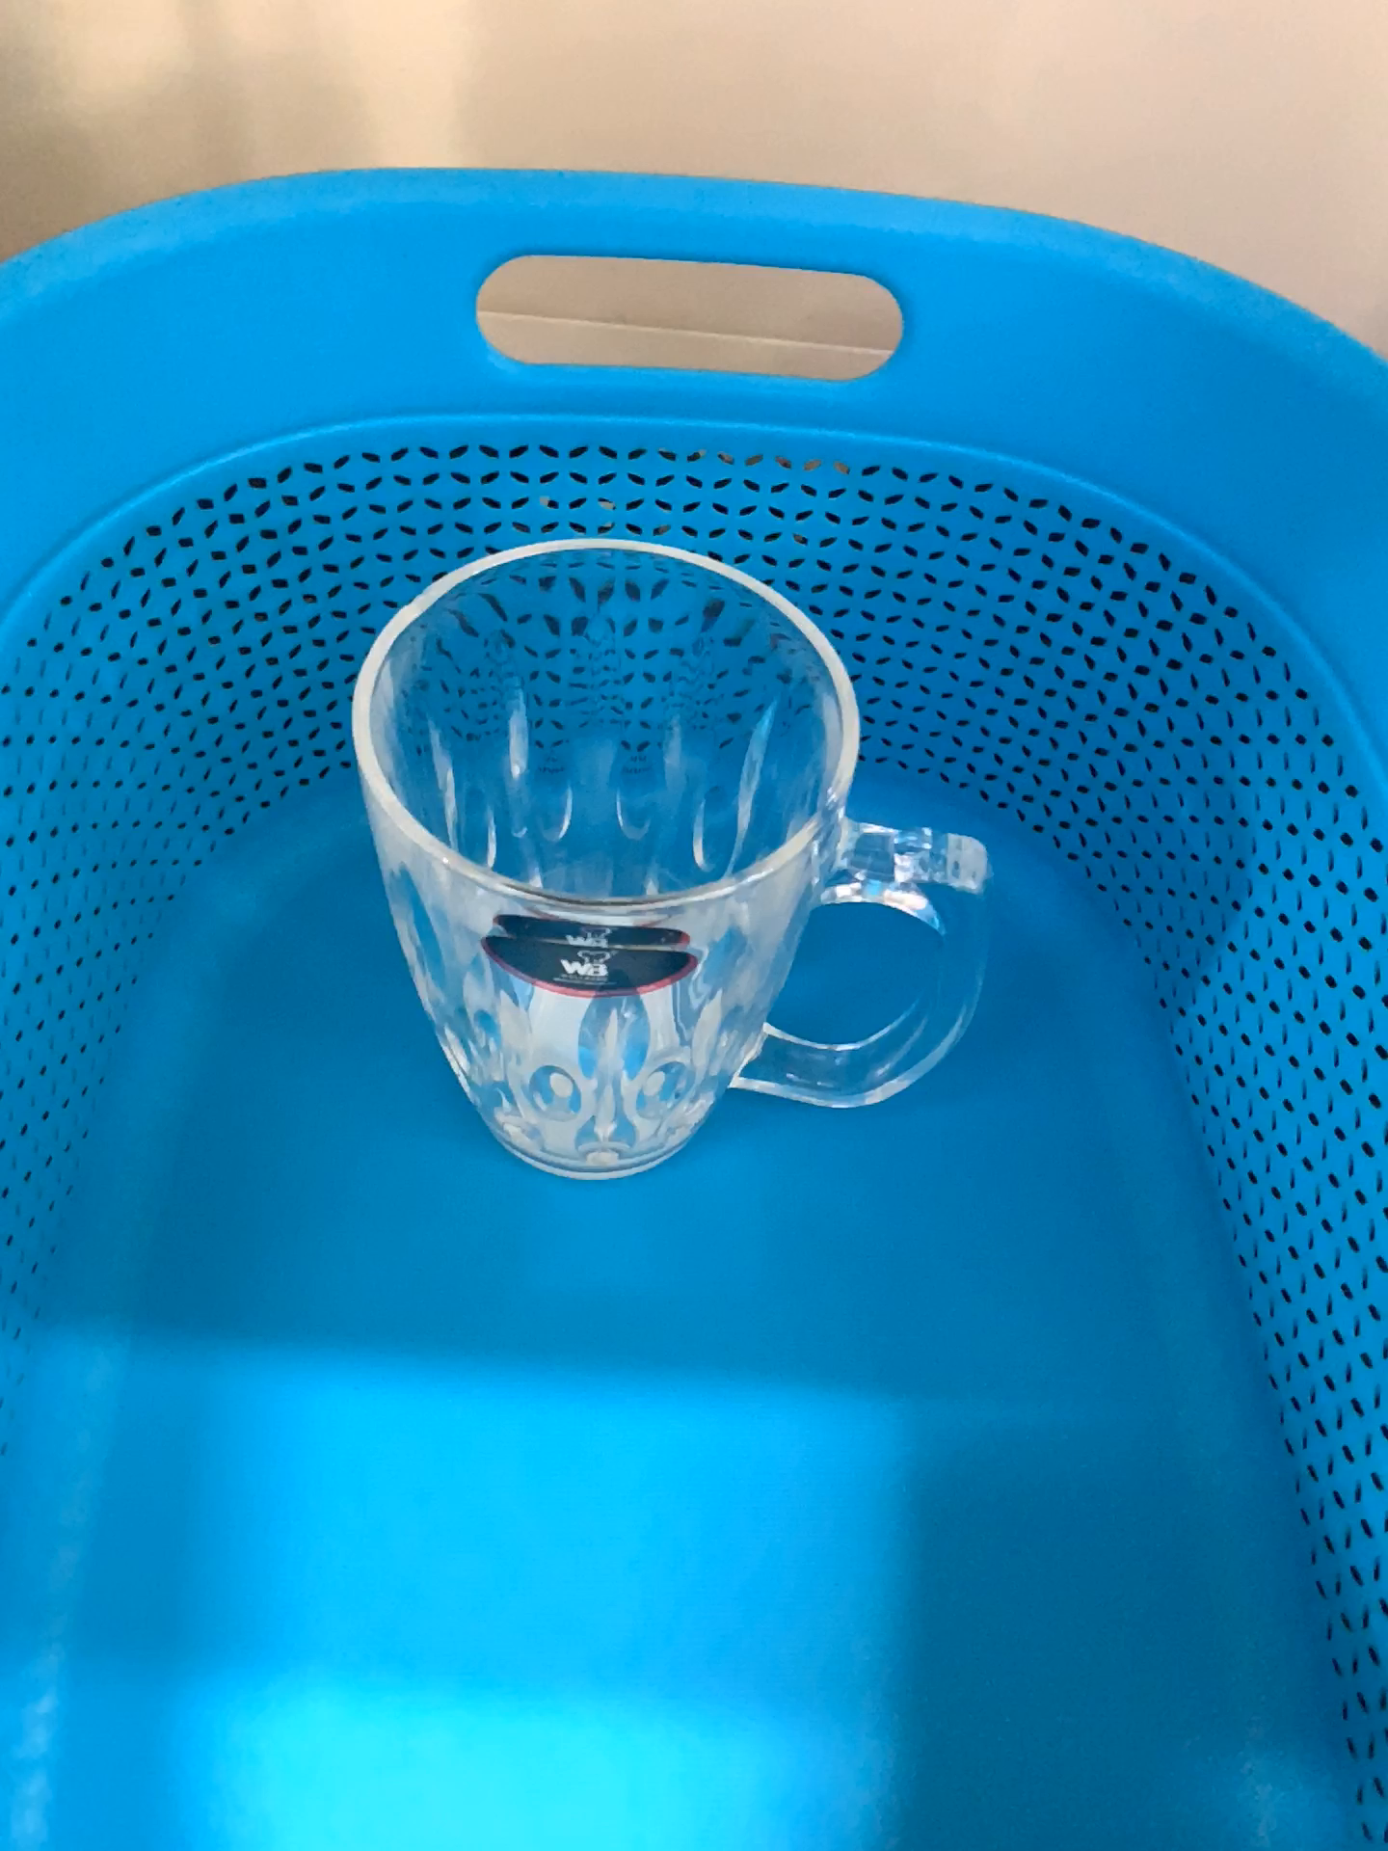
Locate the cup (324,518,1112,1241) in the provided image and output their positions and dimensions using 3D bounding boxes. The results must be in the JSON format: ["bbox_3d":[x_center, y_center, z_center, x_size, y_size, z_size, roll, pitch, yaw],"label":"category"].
[{"bbox_3d":[-0.001,-0.001,0.268,0.109,0.117,0.078,1,54,-4],"label":"cup"}]
